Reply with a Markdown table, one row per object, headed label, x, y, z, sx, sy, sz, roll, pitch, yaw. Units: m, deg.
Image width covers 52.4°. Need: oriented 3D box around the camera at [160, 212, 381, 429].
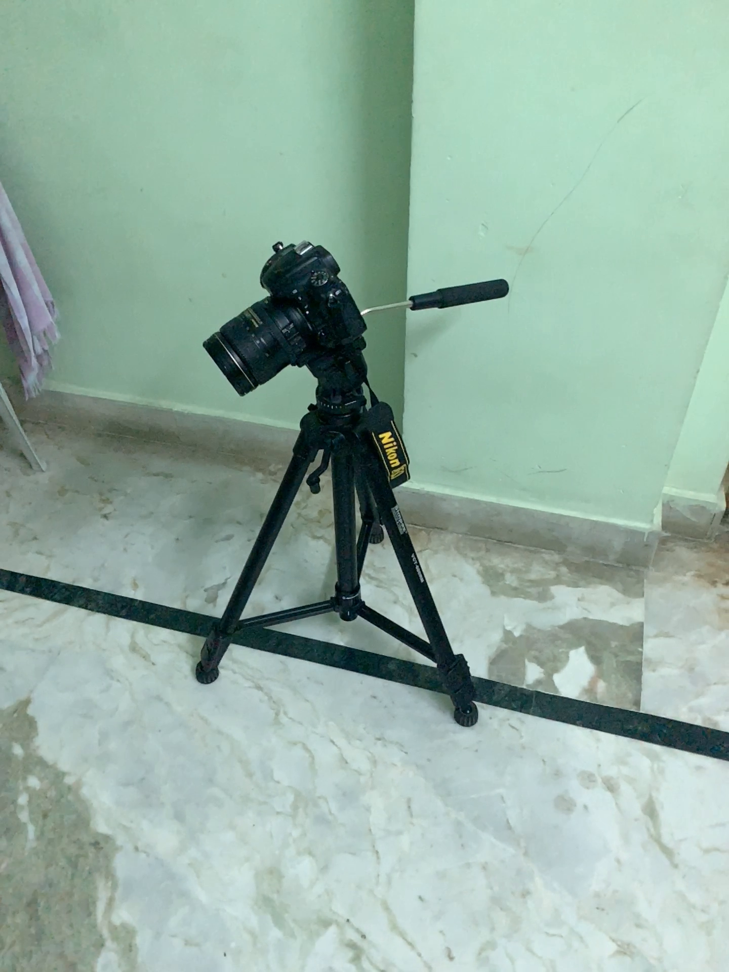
| label | x | y | z | sx | sy | sz | roll | pitch | yaw |
| --- | --- | --- | --- | --- | --- | --- | --- | --- | --- |
| camera | -0.112 | -0.197 | 0.865 | 0.180 | 0.110 | 0.171 | -35 | 45 | -3 |
